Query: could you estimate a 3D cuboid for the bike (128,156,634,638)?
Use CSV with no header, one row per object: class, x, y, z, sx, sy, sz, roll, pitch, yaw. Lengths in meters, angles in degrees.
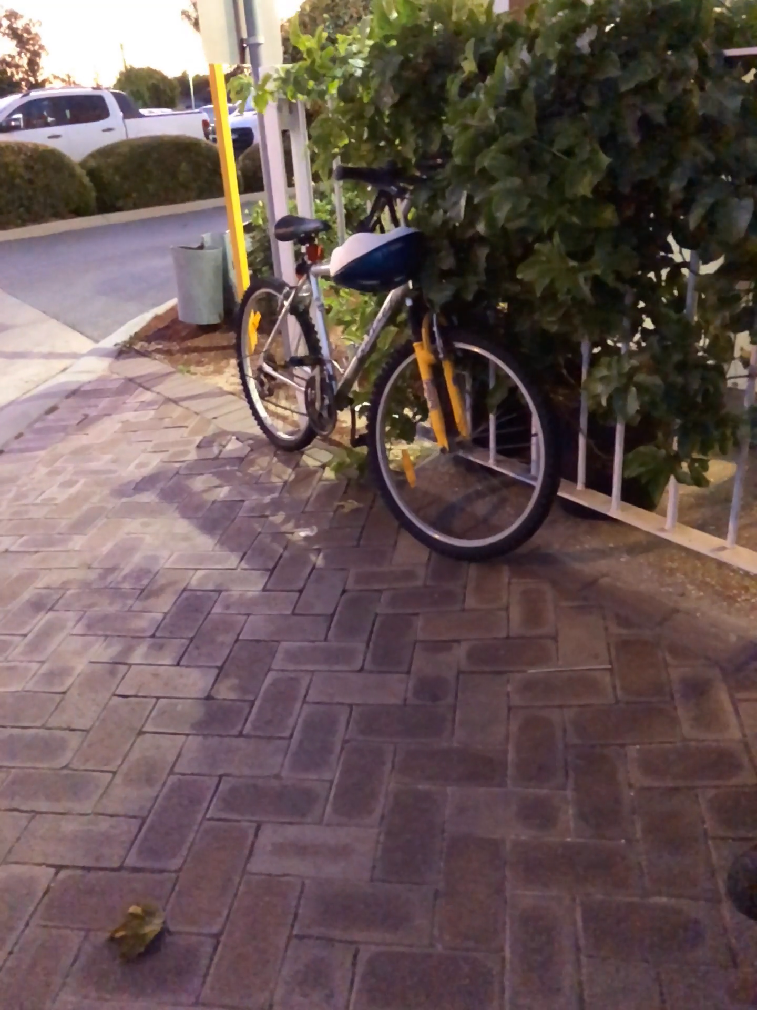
bike,-0.112,-0.494,2.522,0.552,0.995,1.700,-20,29,-30
